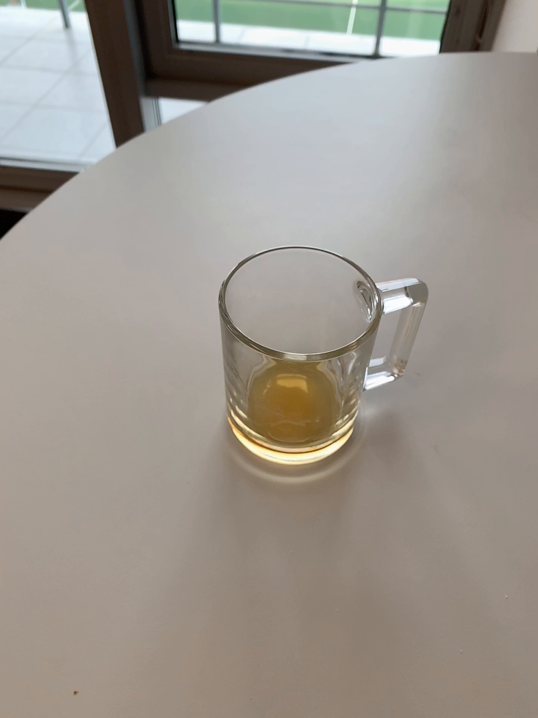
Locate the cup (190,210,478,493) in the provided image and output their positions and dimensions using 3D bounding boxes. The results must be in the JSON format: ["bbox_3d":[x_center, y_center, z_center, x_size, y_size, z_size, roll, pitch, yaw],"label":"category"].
[{"bbox_3d":[0.023,-0.004,0.273,0.101,0.090,0.082,-11,51,-10],"label":"cup"}]
